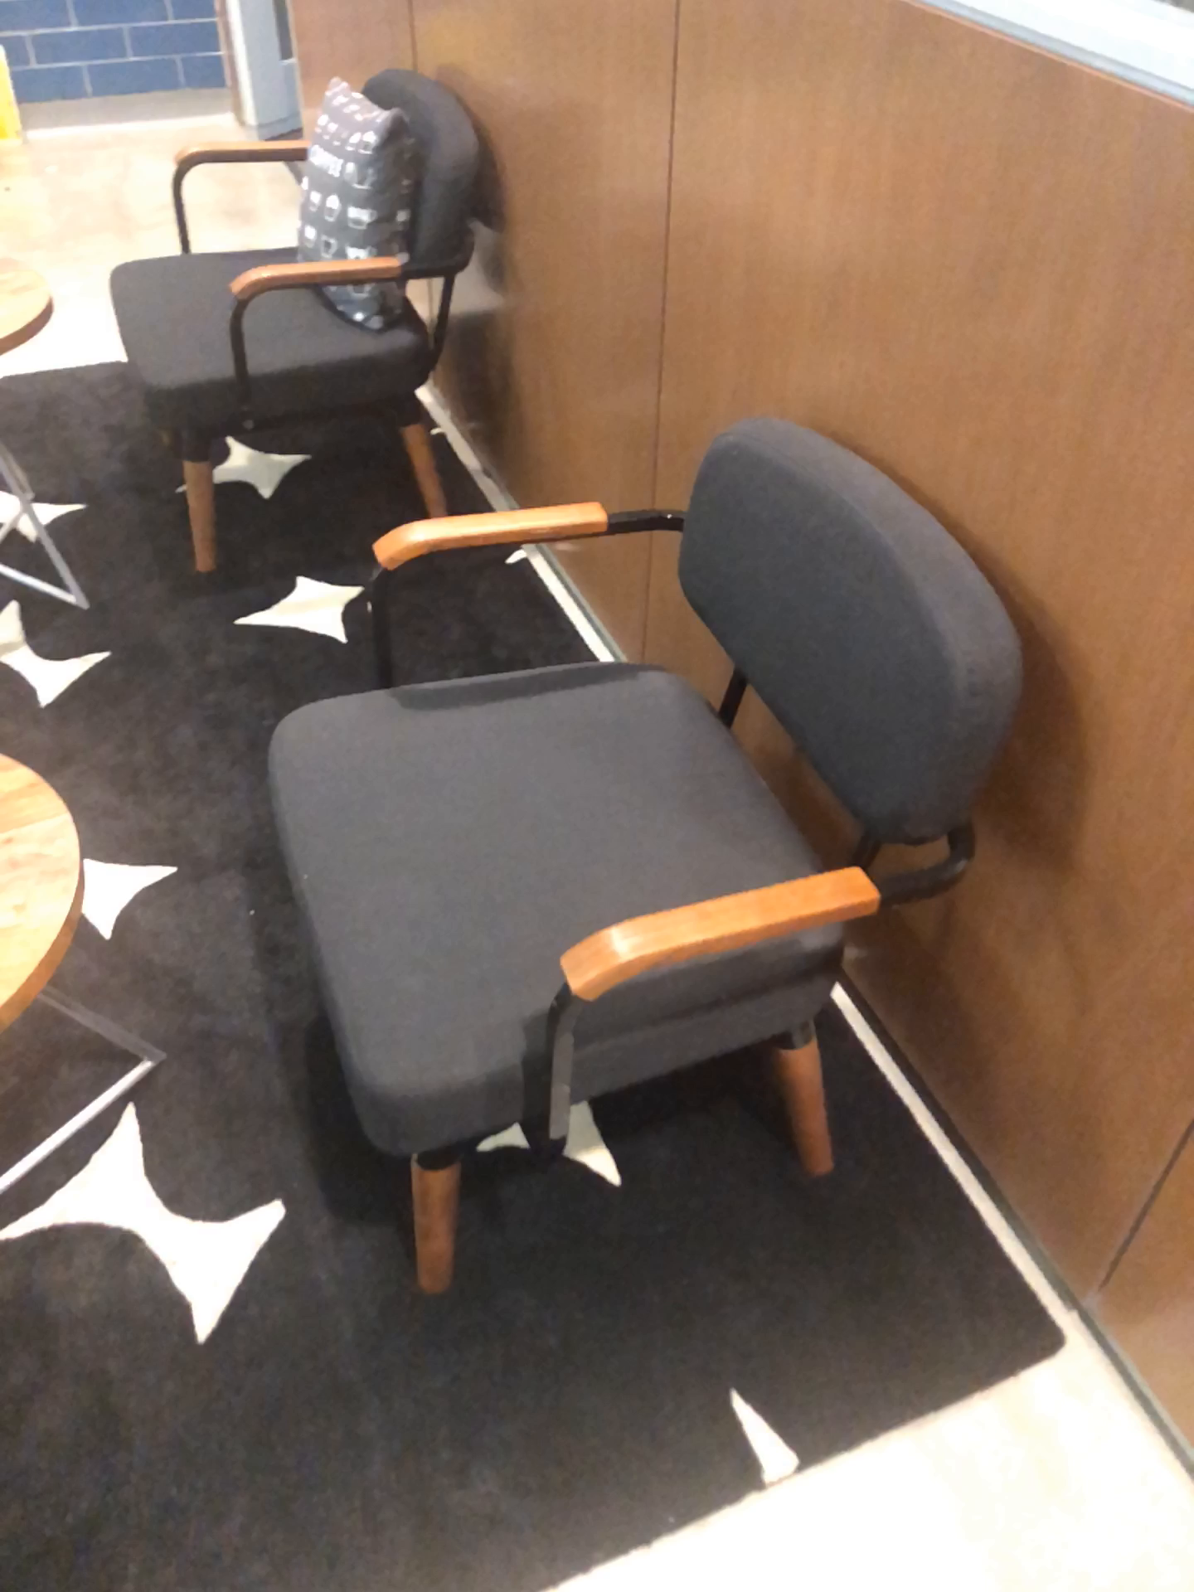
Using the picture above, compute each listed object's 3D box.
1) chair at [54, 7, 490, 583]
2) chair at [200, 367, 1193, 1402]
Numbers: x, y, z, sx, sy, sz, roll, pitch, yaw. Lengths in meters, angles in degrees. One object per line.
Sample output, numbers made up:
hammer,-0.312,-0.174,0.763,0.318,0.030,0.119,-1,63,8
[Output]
chair,-0.575,-0.914,2.333,0.571,0.714,0.735,-10,43,-18
chair,0.014,0.050,1.401,0.682,0.714,0.685,-10,43,-18
